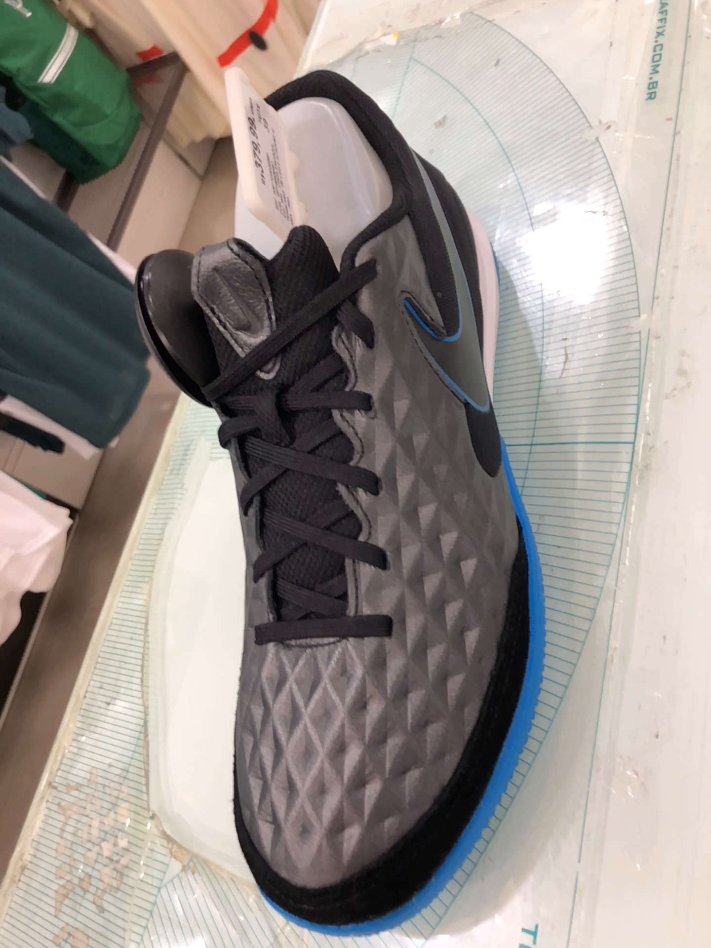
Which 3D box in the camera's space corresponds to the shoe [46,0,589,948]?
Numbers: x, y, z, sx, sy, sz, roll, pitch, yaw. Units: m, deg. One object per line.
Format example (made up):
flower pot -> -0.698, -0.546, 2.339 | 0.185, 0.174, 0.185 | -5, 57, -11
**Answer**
shoe -> 0.009, -0.011, 0.264 | 0.100, 0.100, 0.291 | -10, 60, 30
